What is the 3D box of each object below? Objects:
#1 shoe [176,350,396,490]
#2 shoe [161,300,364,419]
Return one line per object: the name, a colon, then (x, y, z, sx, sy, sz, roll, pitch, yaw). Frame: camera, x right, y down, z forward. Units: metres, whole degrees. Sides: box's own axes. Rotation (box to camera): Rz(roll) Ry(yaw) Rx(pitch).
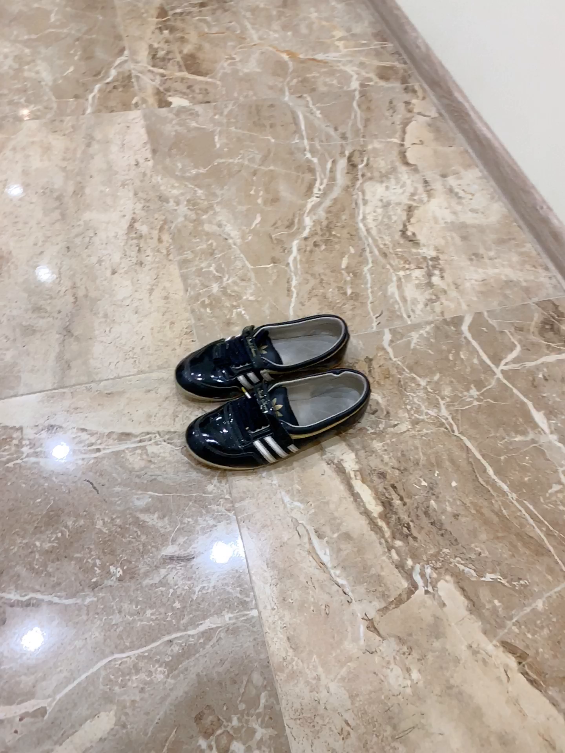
shoe: (0.003, 0.050, 0.704, 0.240, 0.060, 0.096, -14, 59, -13)
shoe: (-0.027, -0.025, 0.754, 0.240, 0.060, 0.096, -11, 58, -11)
